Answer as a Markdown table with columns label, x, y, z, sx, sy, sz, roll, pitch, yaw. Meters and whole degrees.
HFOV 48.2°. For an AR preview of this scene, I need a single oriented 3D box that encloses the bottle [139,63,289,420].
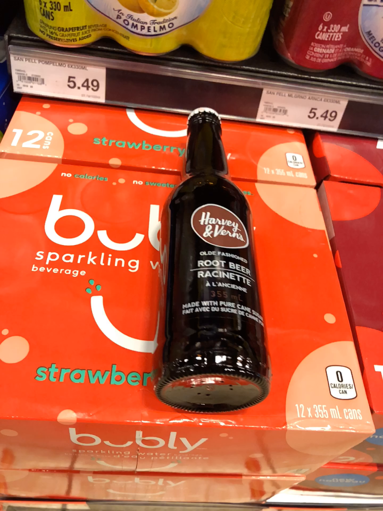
| label | x | y | z | sx | sy | sz | roll | pitch | yaw |
| --- | --- | --- | --- | --- | --- | --- | --- | --- | --- |
| bottle | 0.008 | -0.025 | 0.274 | 0.060 | 0.070 | 0.230 | 5 | 53 | -6 |
